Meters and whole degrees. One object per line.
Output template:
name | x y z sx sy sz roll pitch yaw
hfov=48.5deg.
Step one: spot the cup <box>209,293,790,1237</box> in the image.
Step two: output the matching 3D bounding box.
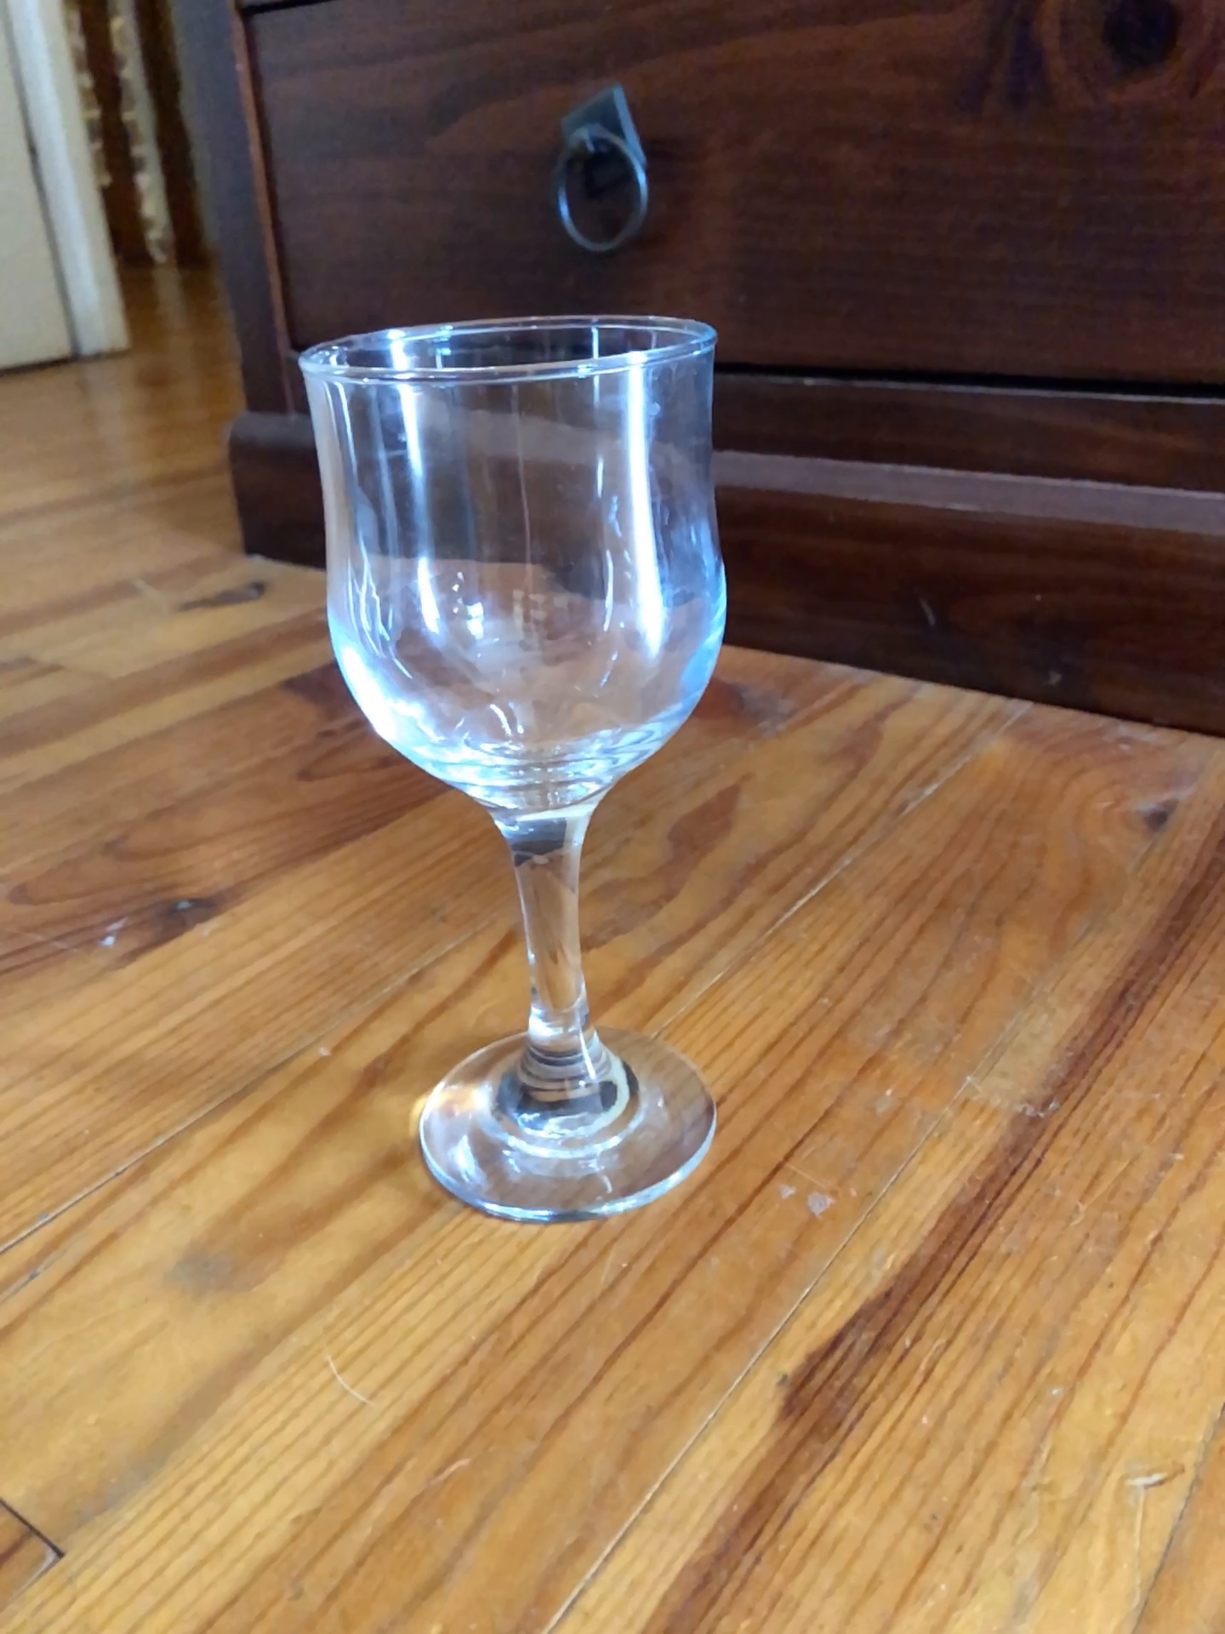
cup | -0.008 -0.010 0.258 0.082 0.157 0.077 -3 25 1
